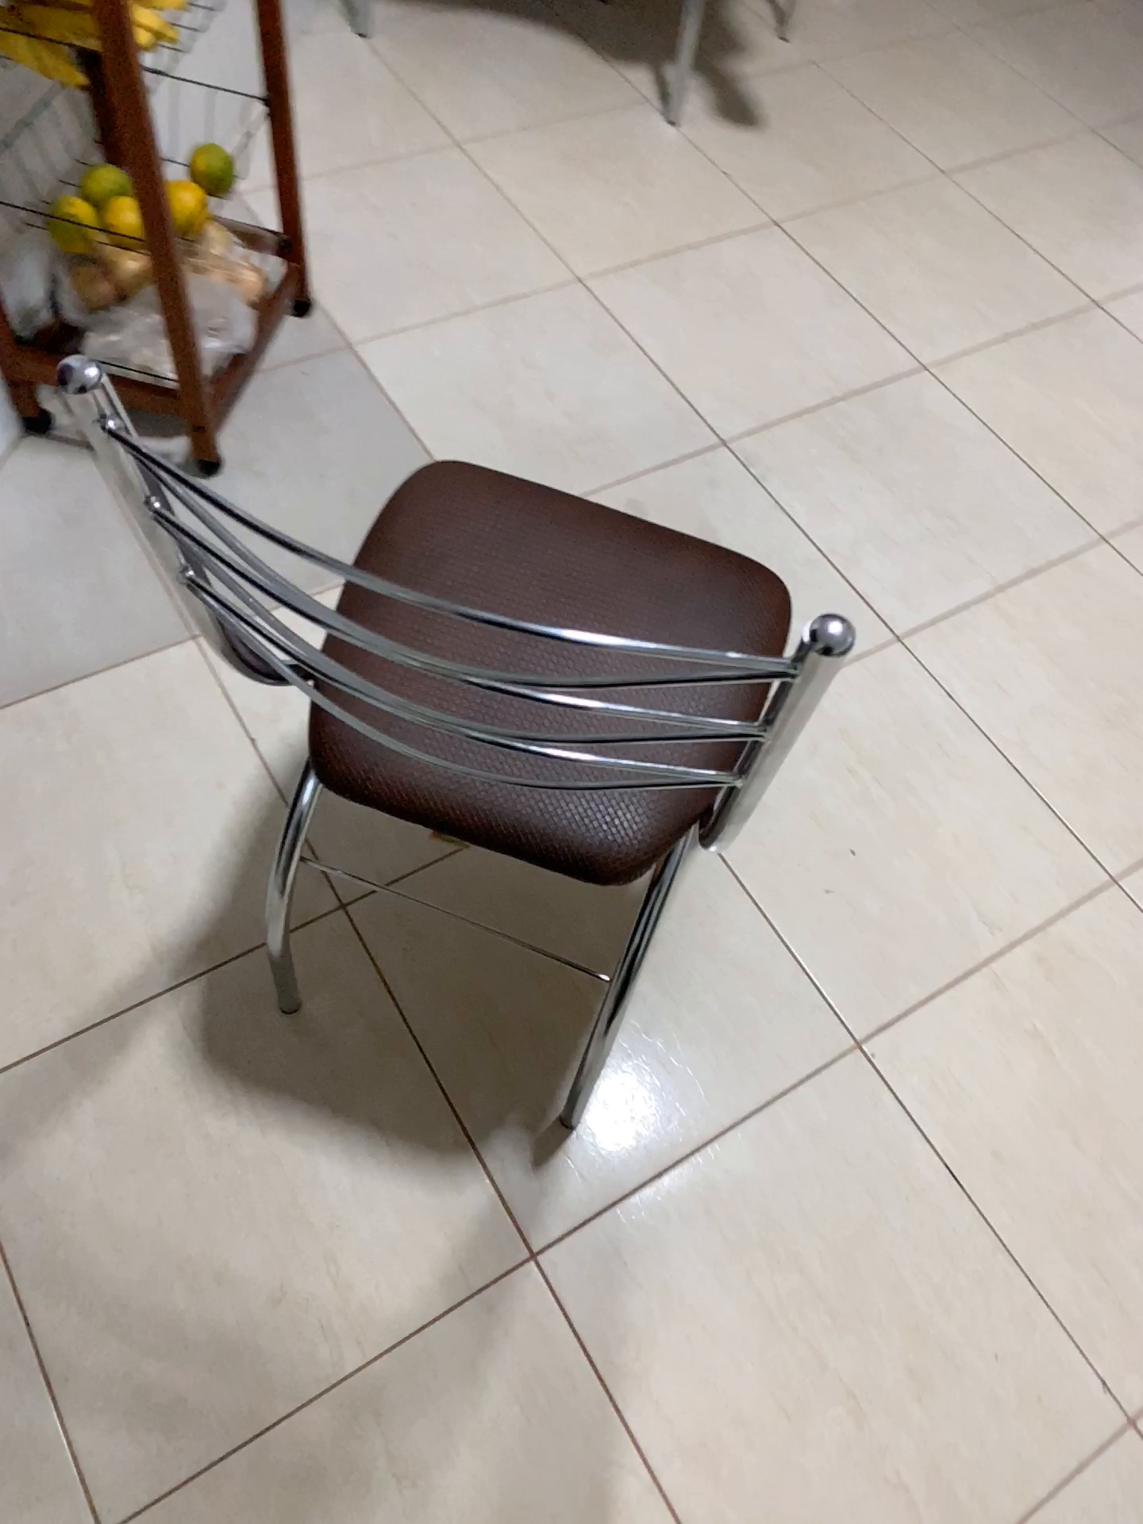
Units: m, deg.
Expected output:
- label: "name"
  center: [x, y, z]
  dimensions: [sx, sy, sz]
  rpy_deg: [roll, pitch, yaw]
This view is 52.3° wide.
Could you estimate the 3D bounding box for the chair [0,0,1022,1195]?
- label: "chair"
  center: [-0.045, -0.046, 0.983]
  dimensions: [0.418, 0.872, 0.486]
  rpy_deg: [20, 57, 5]
